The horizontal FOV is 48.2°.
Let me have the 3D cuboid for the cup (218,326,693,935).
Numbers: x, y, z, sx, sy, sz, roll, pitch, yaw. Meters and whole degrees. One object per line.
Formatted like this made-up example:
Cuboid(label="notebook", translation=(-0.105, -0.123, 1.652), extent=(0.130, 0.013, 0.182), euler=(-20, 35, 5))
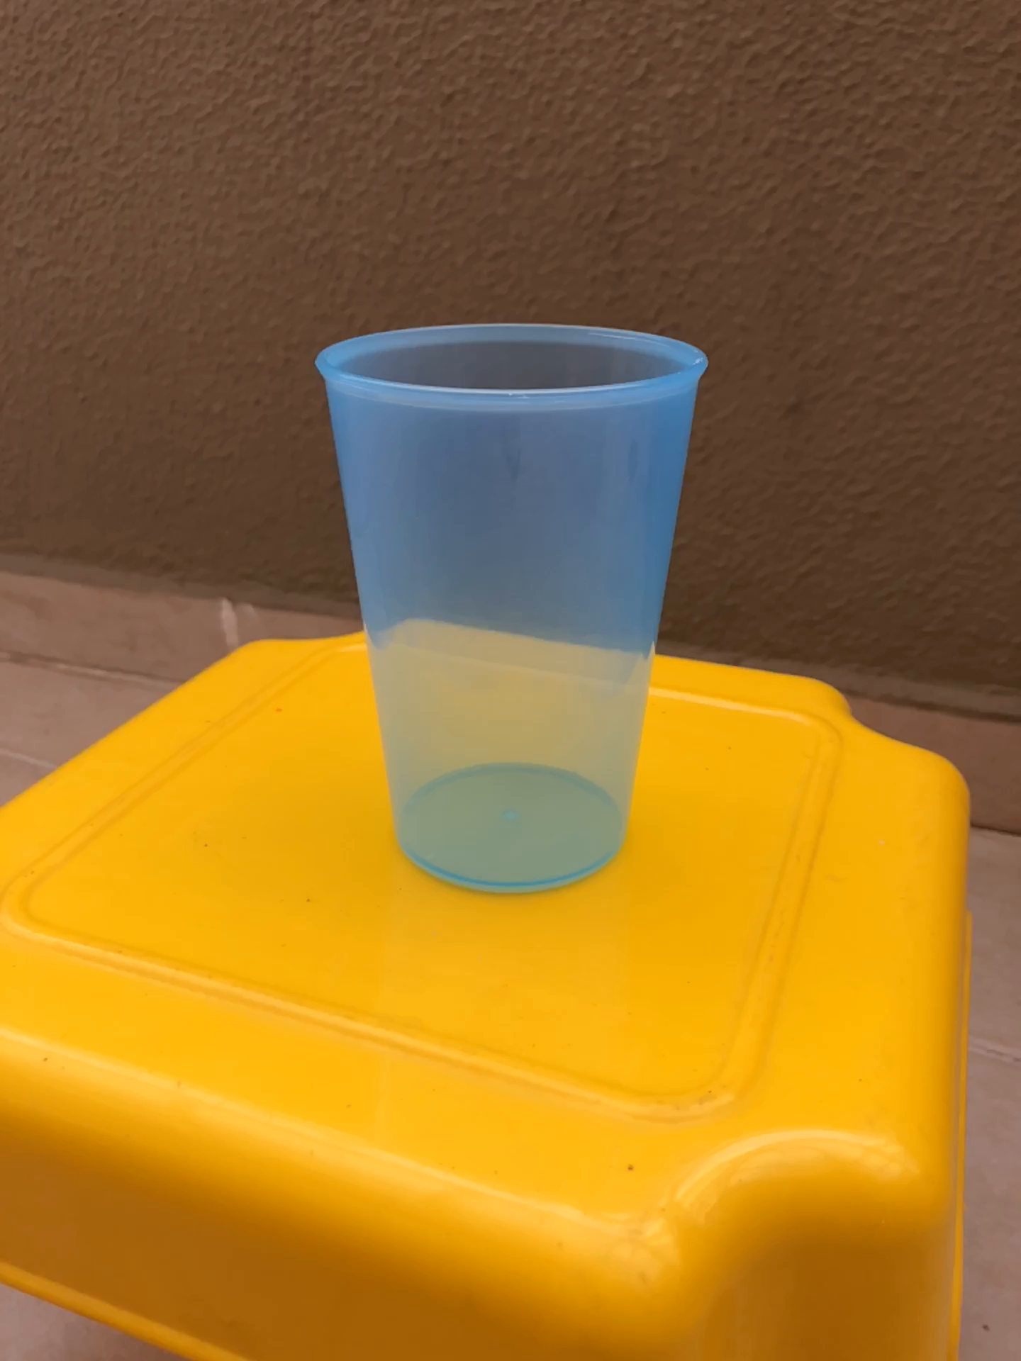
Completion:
Cuboid(label="cup", translation=(-0.005, -0.017, 0.241), extent=(0.070, 0.099, 0.080), euler=(6, 25, 15))
